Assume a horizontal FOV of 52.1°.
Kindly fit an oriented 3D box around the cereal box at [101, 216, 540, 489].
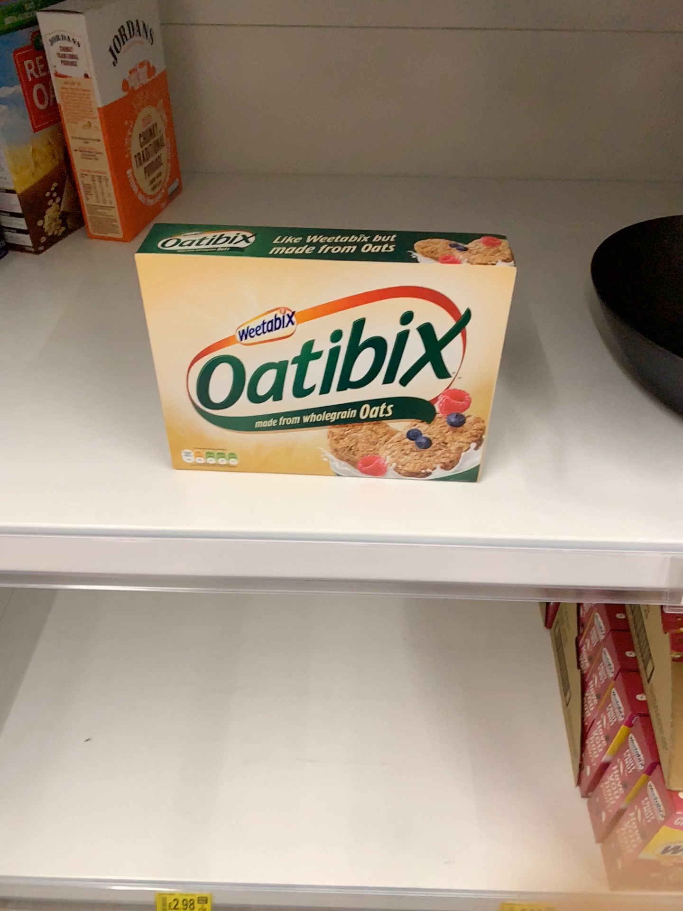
[{"bbox_3d":[-0.013,-0.070,0.514,0.270,0.178,0.071,2,41,2],"label":"cereal box"}]
